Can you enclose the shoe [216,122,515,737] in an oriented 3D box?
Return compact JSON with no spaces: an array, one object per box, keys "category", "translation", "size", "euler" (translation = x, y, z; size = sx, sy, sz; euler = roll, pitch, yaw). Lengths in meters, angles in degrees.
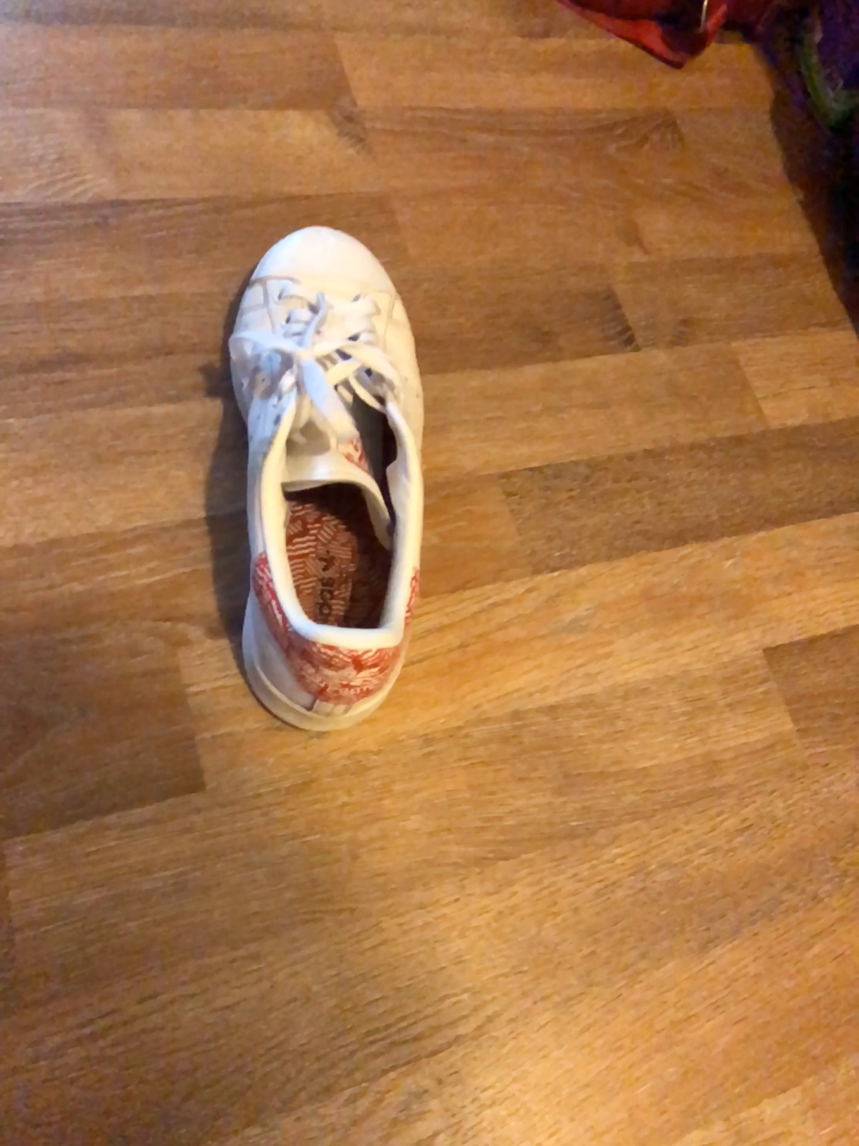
[{"category":"shoe","translation":[-0.038,-0.062,0.436],"size":[0.100,0.109,0.251],"euler":[4,66,-16]}]
